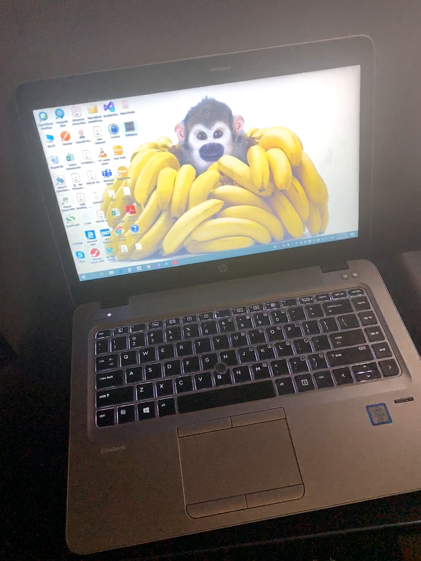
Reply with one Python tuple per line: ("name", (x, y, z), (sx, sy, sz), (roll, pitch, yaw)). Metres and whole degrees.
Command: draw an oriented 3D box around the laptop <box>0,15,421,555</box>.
("laptop", (-0.002, -0.017, 0.354), (0.318, 0.191, 0.327), (-10, 52, -3))
